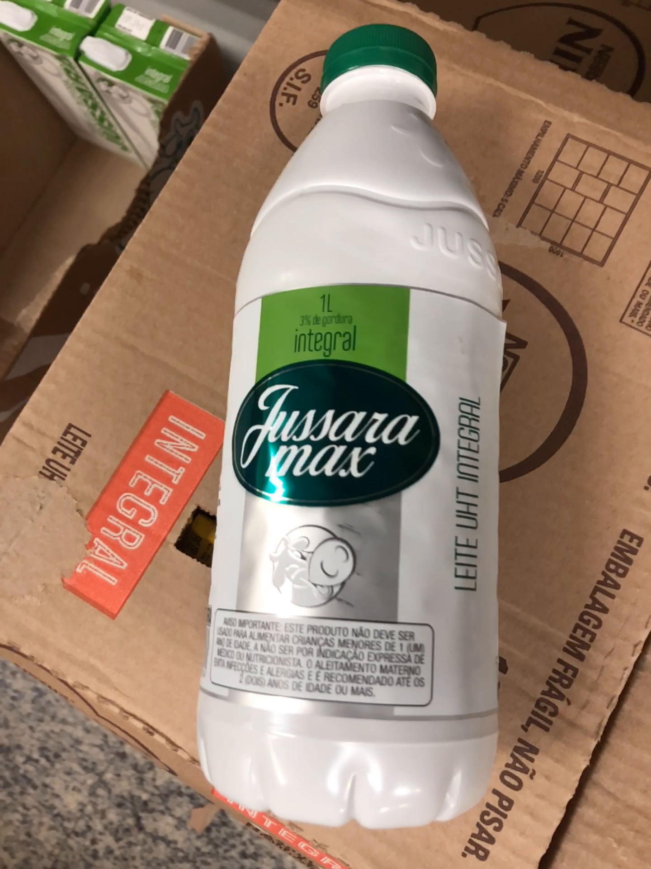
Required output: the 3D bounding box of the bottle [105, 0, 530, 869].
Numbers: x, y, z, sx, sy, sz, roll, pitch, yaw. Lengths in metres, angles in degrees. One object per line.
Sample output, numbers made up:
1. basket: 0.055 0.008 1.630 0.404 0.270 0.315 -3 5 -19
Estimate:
1. bottle: 0.004 -0.014 0.204 0.090 0.060 0.240 2 84 8
